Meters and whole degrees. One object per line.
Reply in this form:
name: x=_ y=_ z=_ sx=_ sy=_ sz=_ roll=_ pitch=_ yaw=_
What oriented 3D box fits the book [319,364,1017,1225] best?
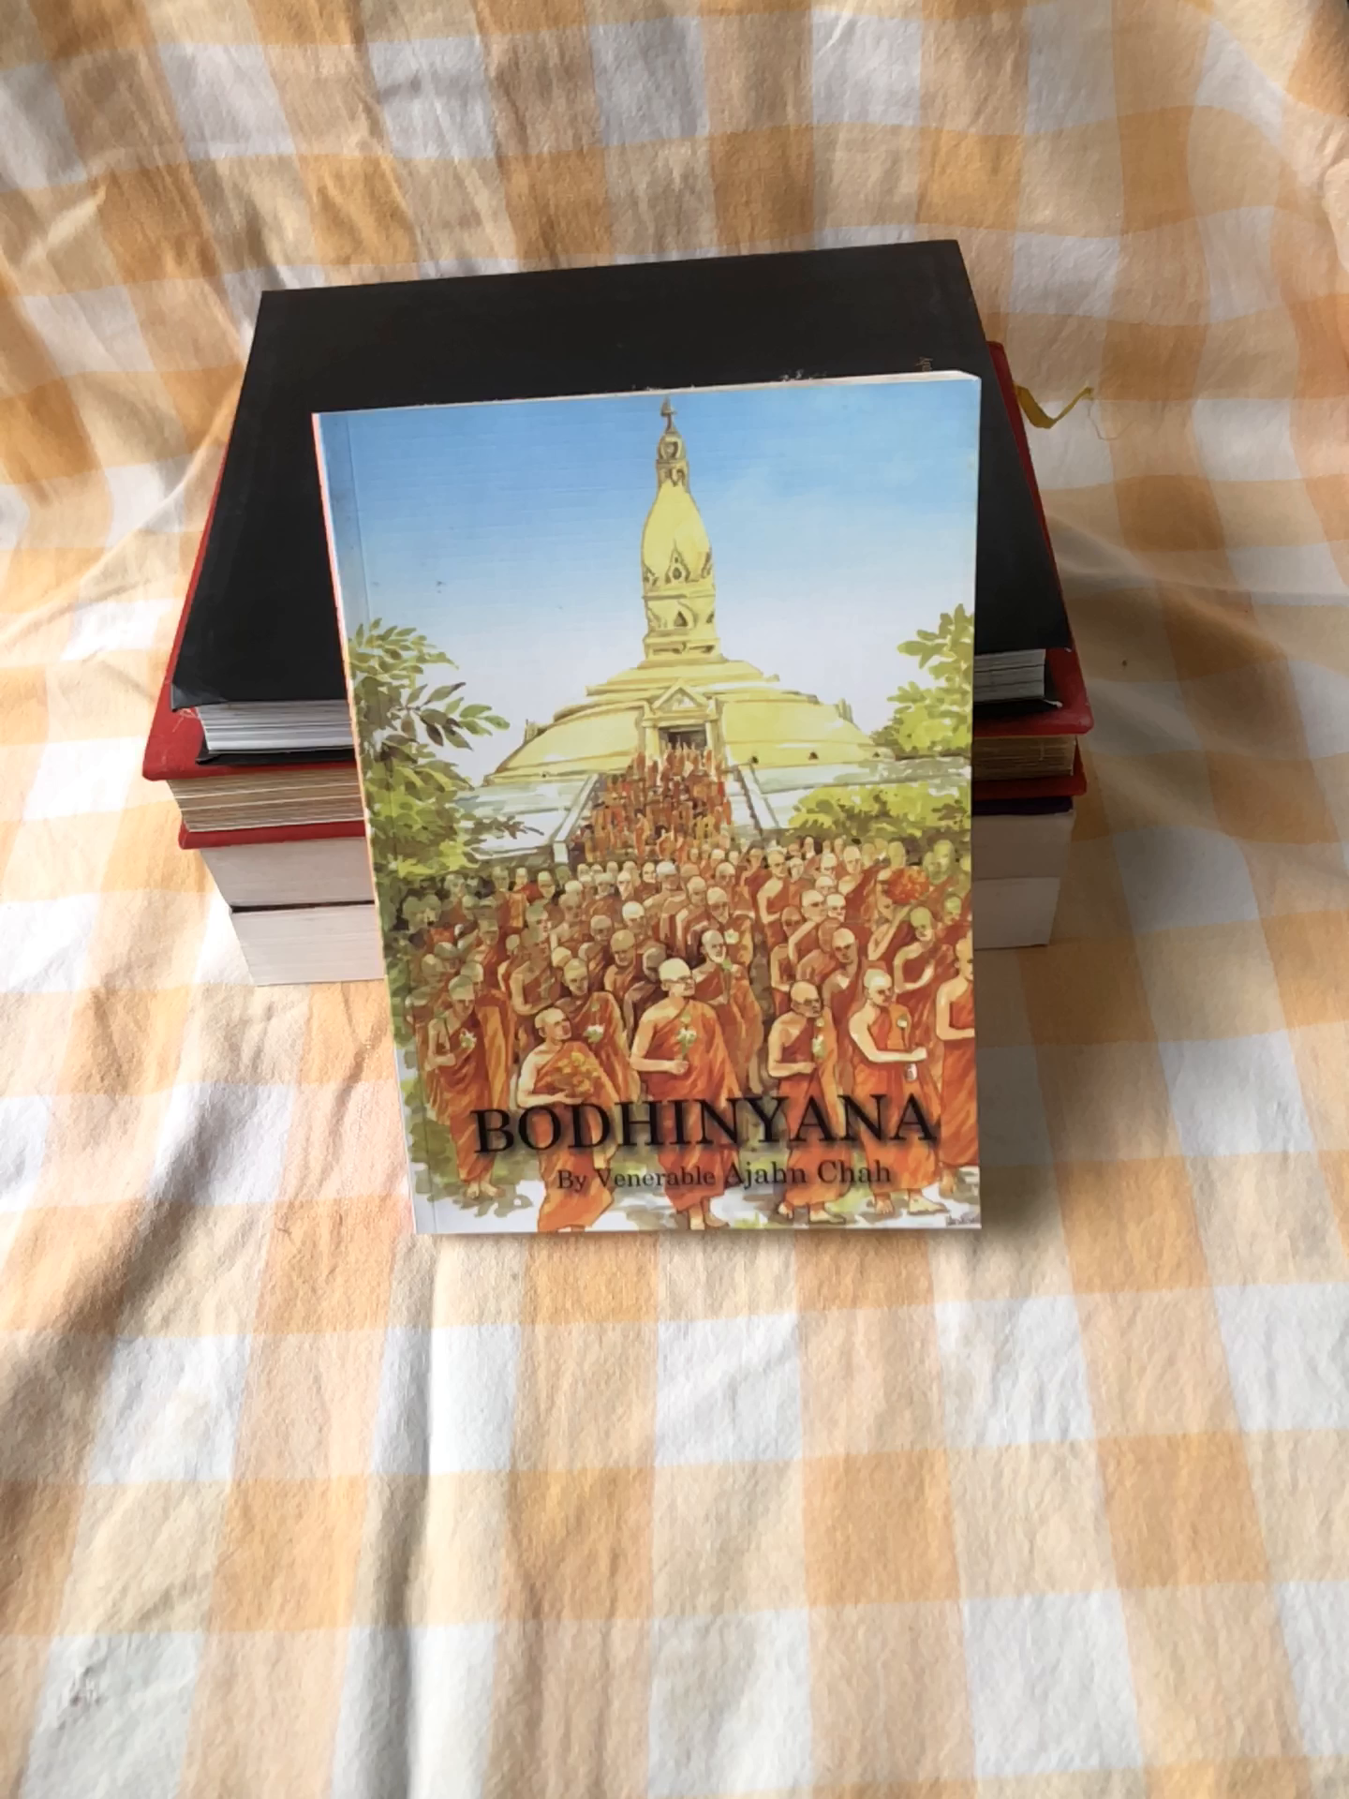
book: x=0.002 y=-0.019 z=0.359 sx=0.150 sy=0.200 sz=0.030 roll=-1 pitch=15 yaw=4
